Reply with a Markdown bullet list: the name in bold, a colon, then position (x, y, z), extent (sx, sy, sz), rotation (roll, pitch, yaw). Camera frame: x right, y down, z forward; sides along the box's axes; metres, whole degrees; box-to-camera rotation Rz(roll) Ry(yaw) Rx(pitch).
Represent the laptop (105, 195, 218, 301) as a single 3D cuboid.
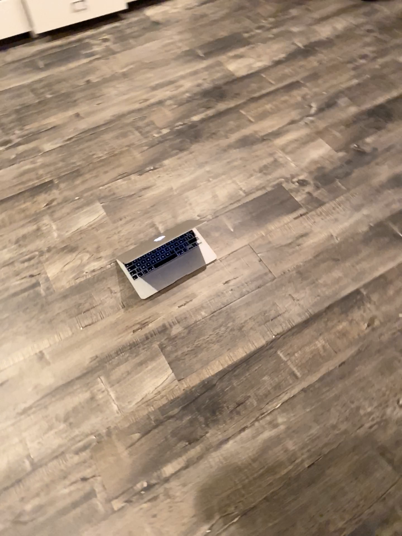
- **laptop**: position (-0.122, -0.068, 1.324), extent (0.292, 0.132, 0.193), rotation (-31, 61, -17)
